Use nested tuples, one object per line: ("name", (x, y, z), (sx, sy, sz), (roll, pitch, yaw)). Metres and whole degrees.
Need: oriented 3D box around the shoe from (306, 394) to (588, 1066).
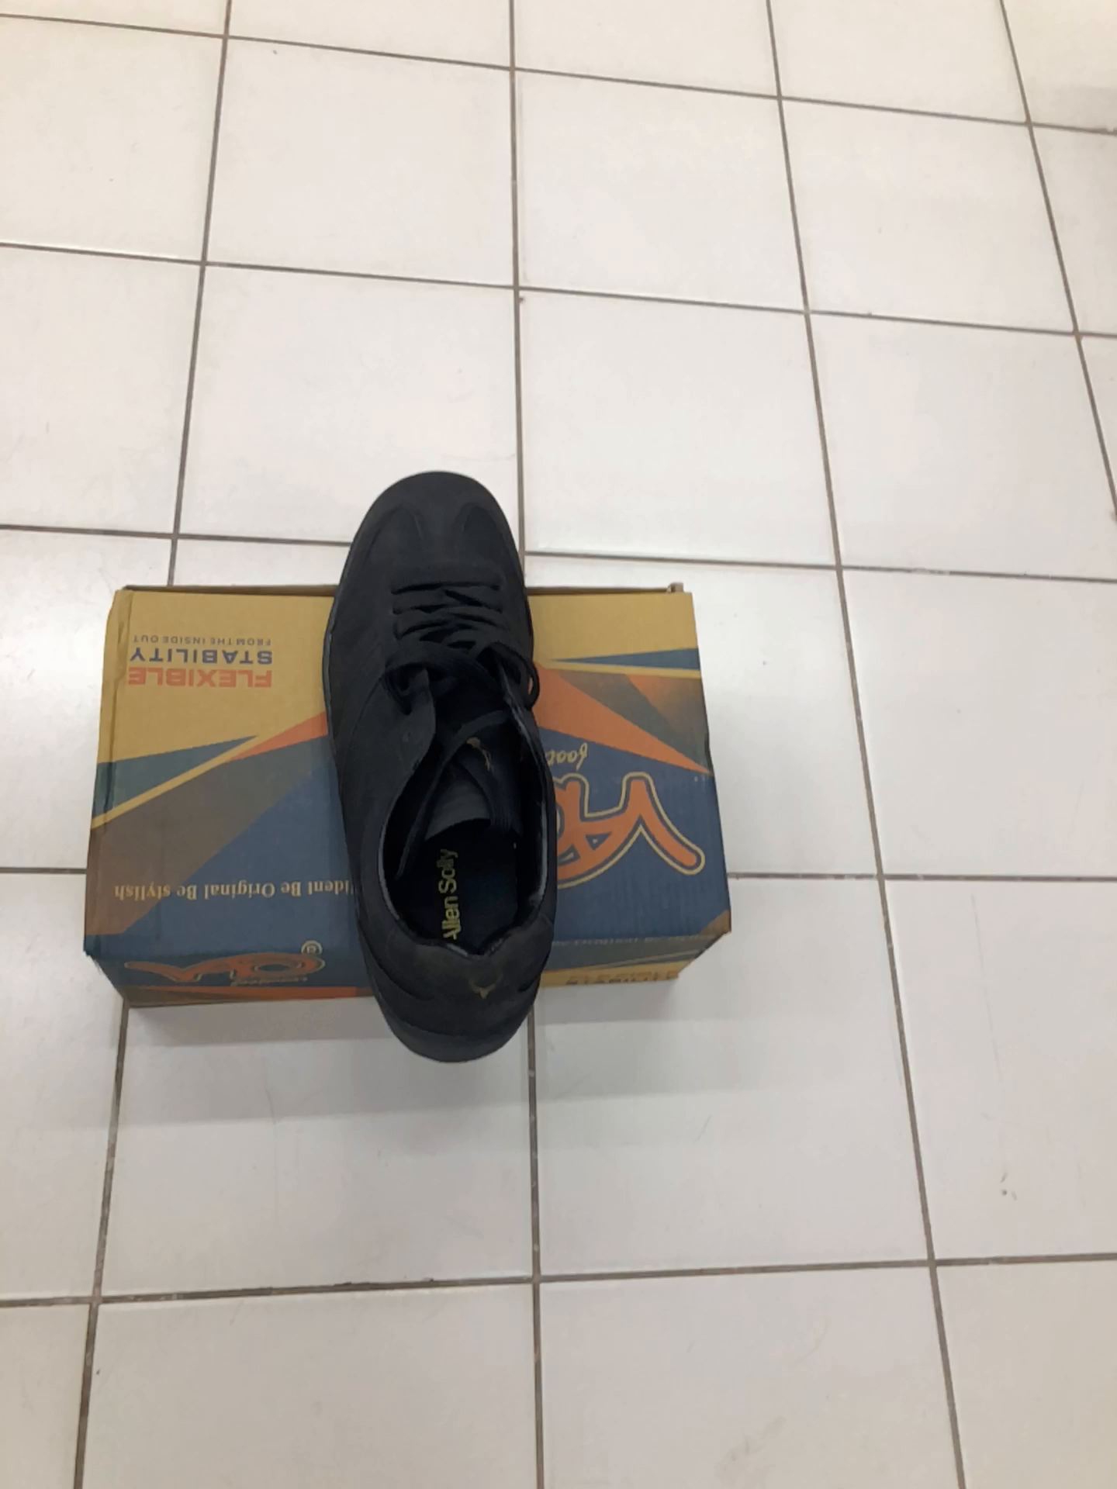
("shoe", (-0.053, -0.011, 0.506), (0.090, 0.080, 0.261), (-2, 68, -11))
